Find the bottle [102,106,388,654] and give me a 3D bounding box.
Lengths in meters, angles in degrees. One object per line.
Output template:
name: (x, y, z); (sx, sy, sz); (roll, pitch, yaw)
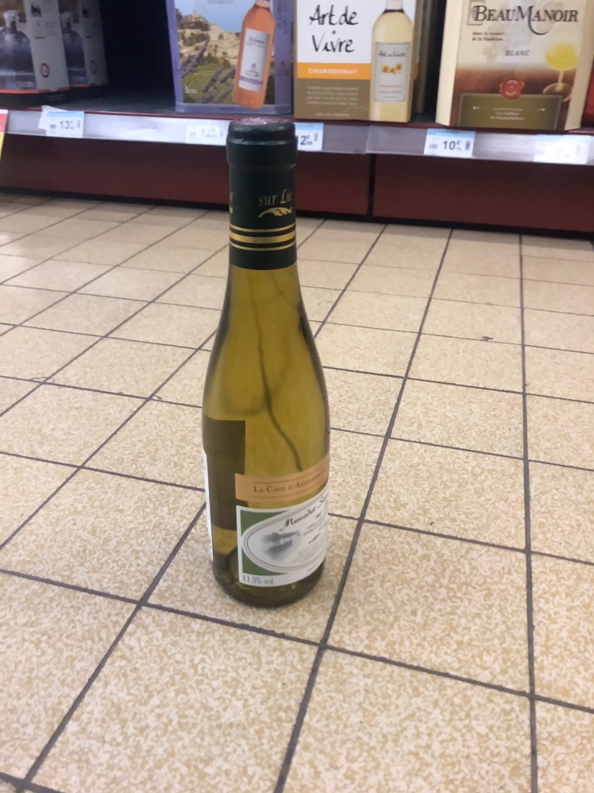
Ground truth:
bottle: (-0.020, -0.005, 0.316); (0.080, 0.239, 0.080); (0, 28, 0)
